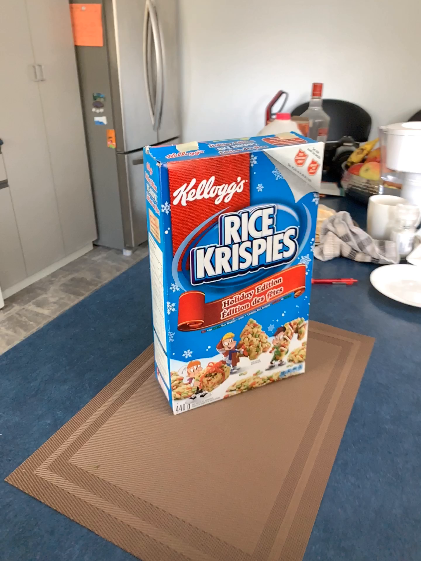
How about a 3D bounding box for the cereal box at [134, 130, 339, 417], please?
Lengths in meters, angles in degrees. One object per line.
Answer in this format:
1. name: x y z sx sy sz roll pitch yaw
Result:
1. cereal box: 0.033 -0.011 0.556 0.220 0.327 0.081 -12 27 -23
